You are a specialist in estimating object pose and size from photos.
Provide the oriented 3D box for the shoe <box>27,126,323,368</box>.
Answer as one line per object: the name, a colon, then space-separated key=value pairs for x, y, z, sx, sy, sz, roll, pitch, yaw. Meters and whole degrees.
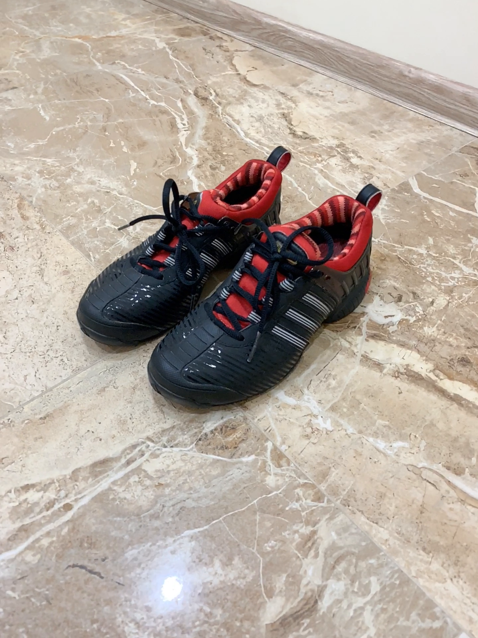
shoe: x=-0.045 y=-0.084 z=0.475 sx=0.095 sy=0.090 sz=0.271 roll=35 pitch=56 yaw=28

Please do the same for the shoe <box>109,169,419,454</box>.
shoe: x=0.034 y=-0.023 z=0.429 sx=0.095 sy=0.090 sz=0.271 roll=35 pitch=56 yaw=28
